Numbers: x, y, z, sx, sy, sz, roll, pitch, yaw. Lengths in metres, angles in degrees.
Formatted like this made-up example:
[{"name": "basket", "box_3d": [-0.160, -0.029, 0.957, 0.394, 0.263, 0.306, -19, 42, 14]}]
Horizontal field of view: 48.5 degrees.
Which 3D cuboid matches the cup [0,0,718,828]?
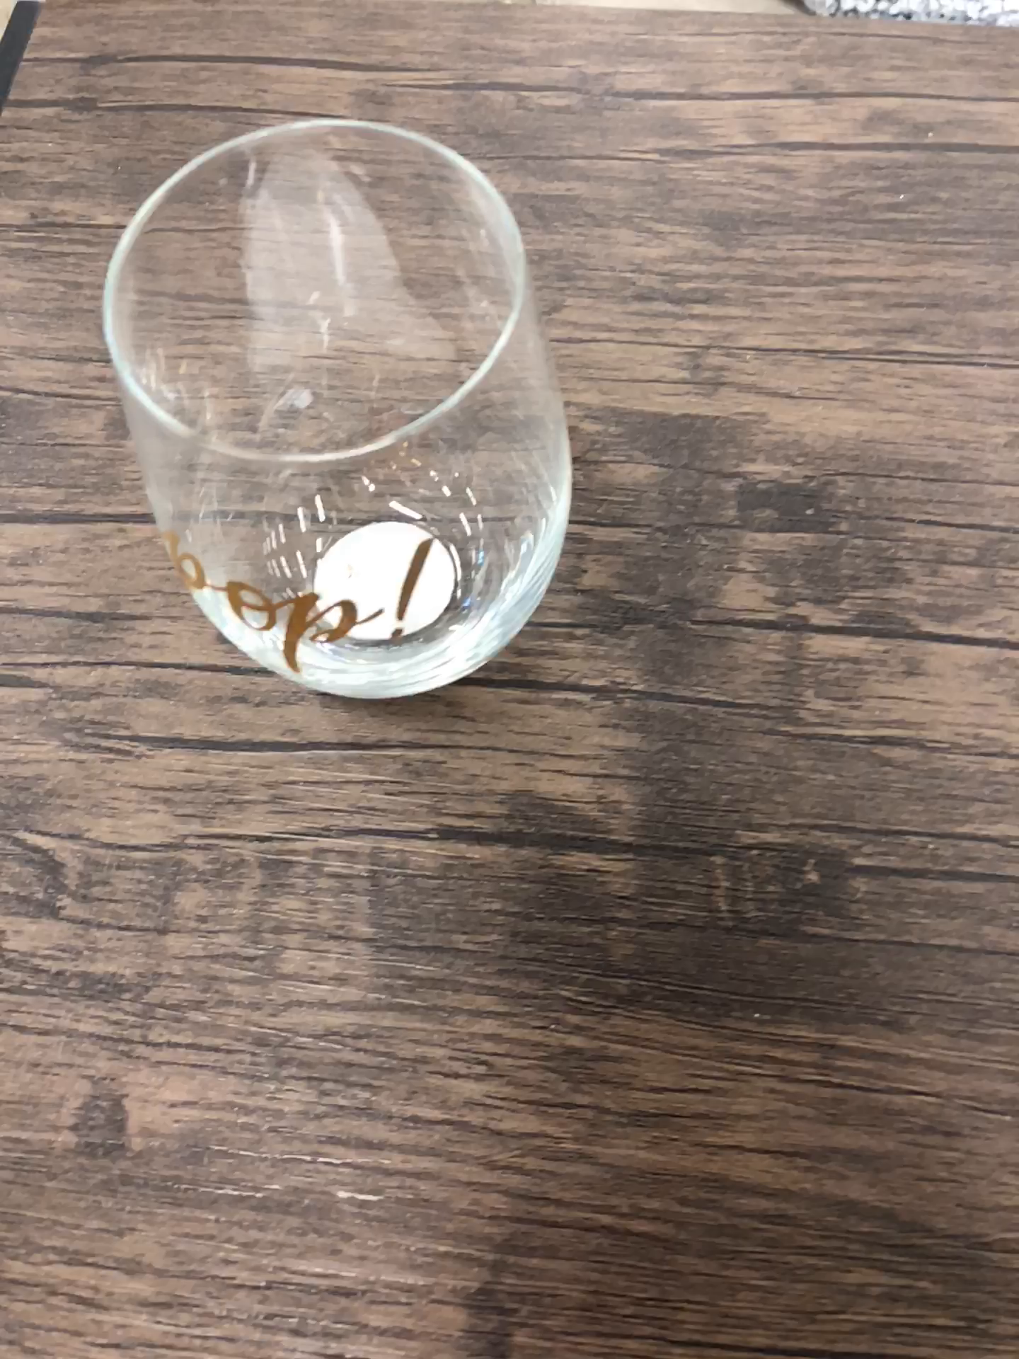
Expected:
[{"name": "cup", "box_3d": [-0.035, -0.054, 0.246, 0.100, 0.130, 0.100, -1, 67, 2]}]
